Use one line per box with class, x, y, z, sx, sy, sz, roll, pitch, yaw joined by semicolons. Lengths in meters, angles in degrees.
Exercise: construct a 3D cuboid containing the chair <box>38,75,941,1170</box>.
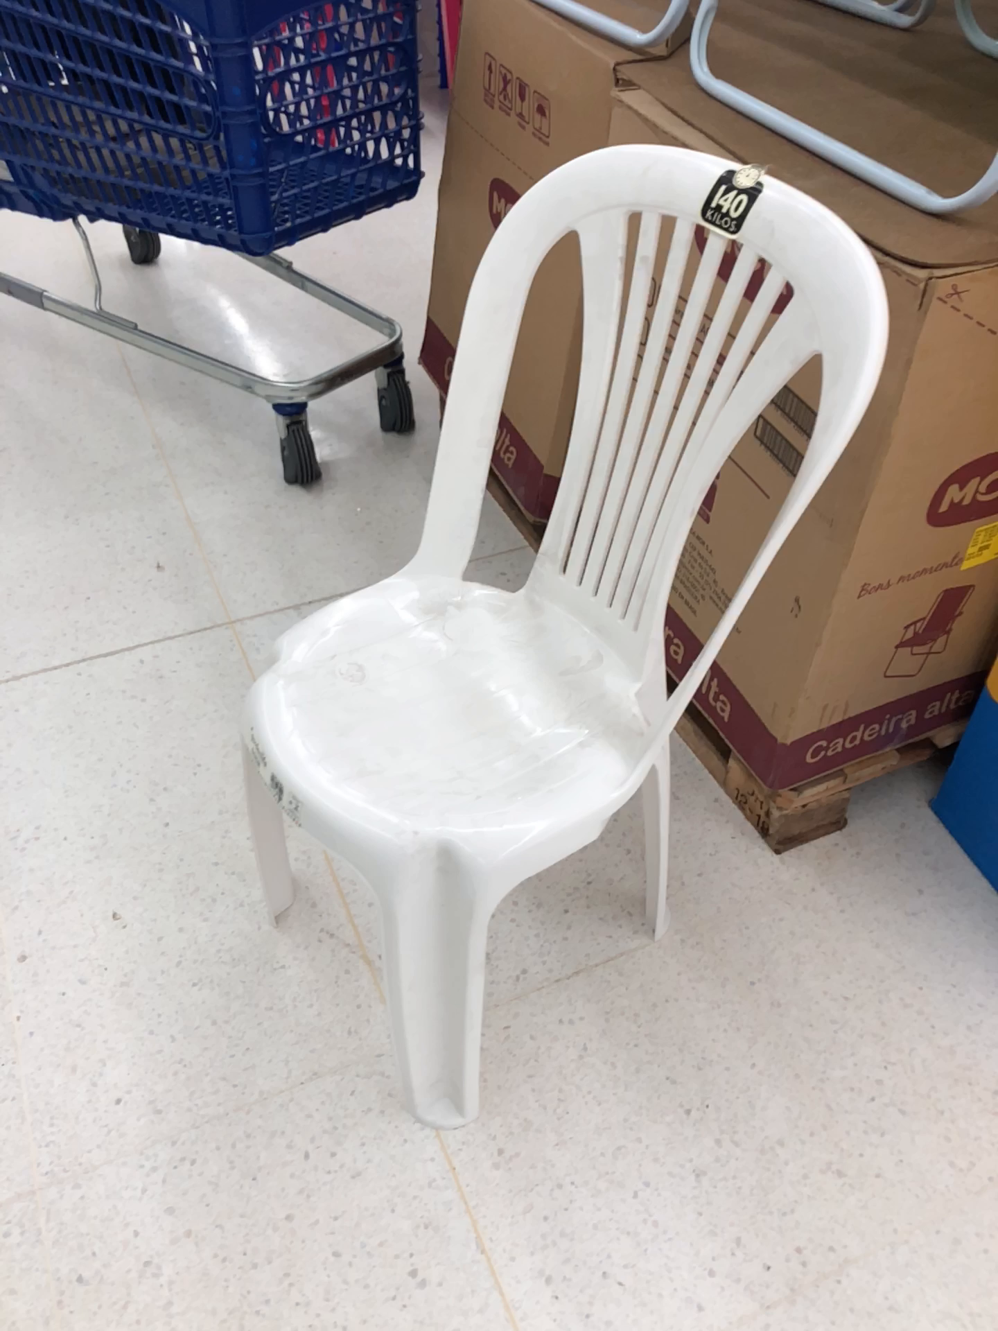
chair;-0.020;-0.019;1.049;0.461;0.834;0.442;-29;50;-29
